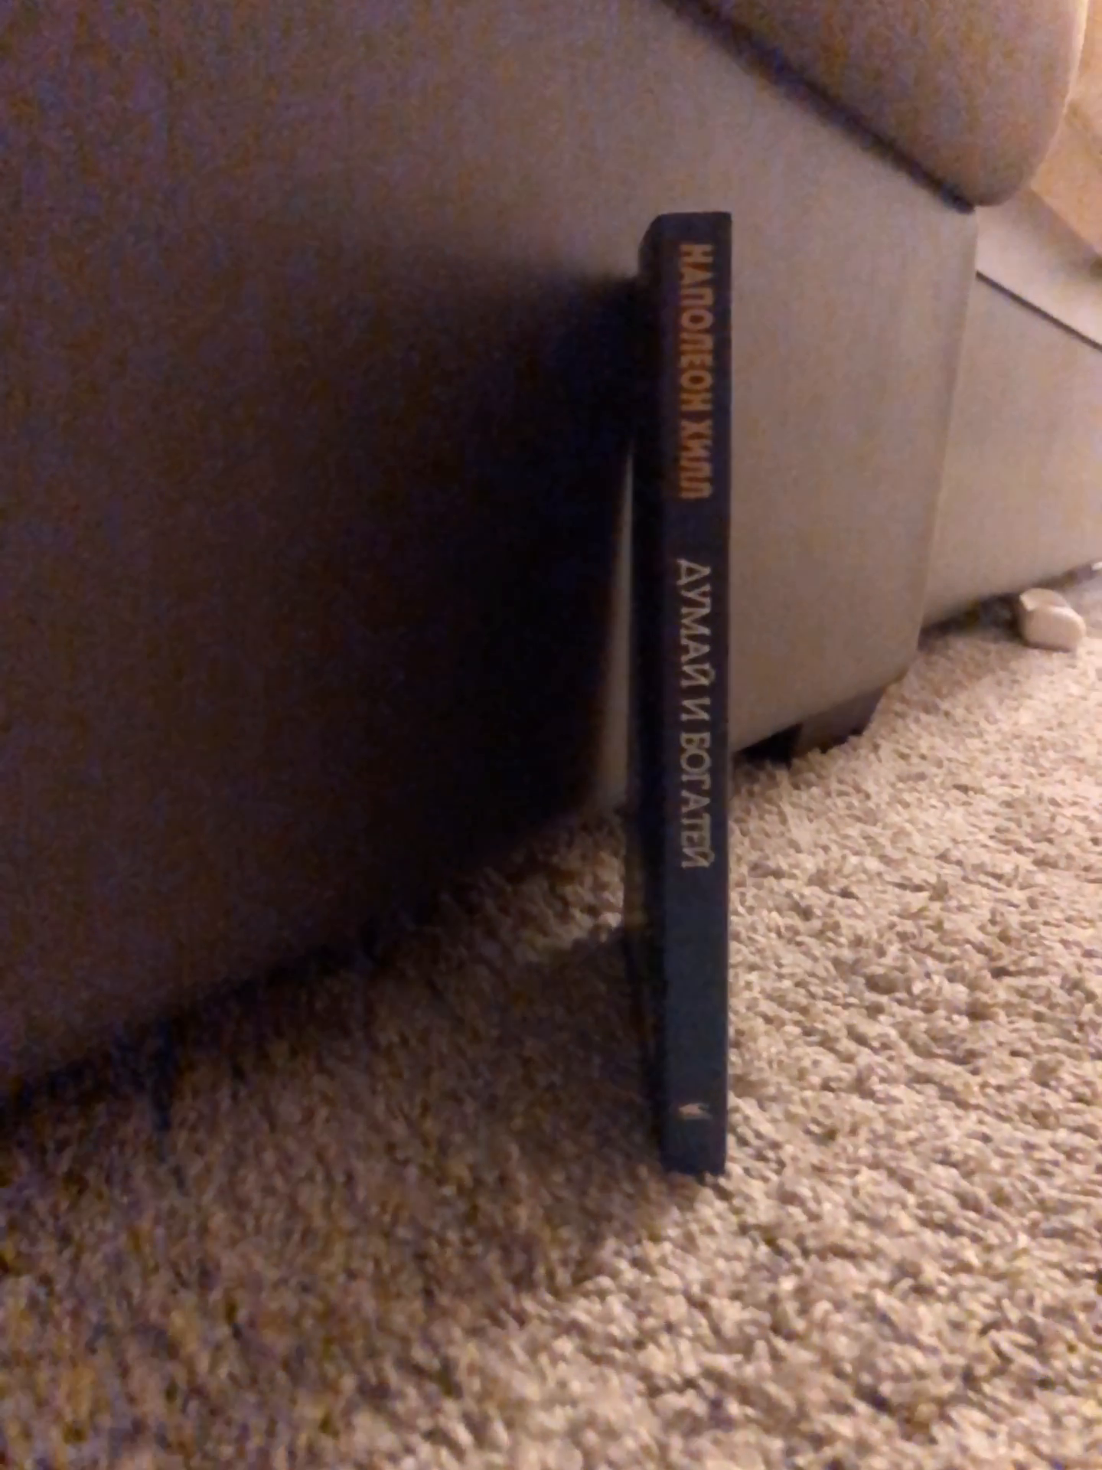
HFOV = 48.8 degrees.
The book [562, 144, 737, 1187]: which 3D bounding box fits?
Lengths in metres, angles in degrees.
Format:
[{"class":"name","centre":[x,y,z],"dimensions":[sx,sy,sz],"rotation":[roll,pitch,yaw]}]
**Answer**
[{"class":"book","centre":[0.023,-0.019,0.293],"dimensions":[0.030,0.198,0.132],"rotation":[-1,13,3]}]
